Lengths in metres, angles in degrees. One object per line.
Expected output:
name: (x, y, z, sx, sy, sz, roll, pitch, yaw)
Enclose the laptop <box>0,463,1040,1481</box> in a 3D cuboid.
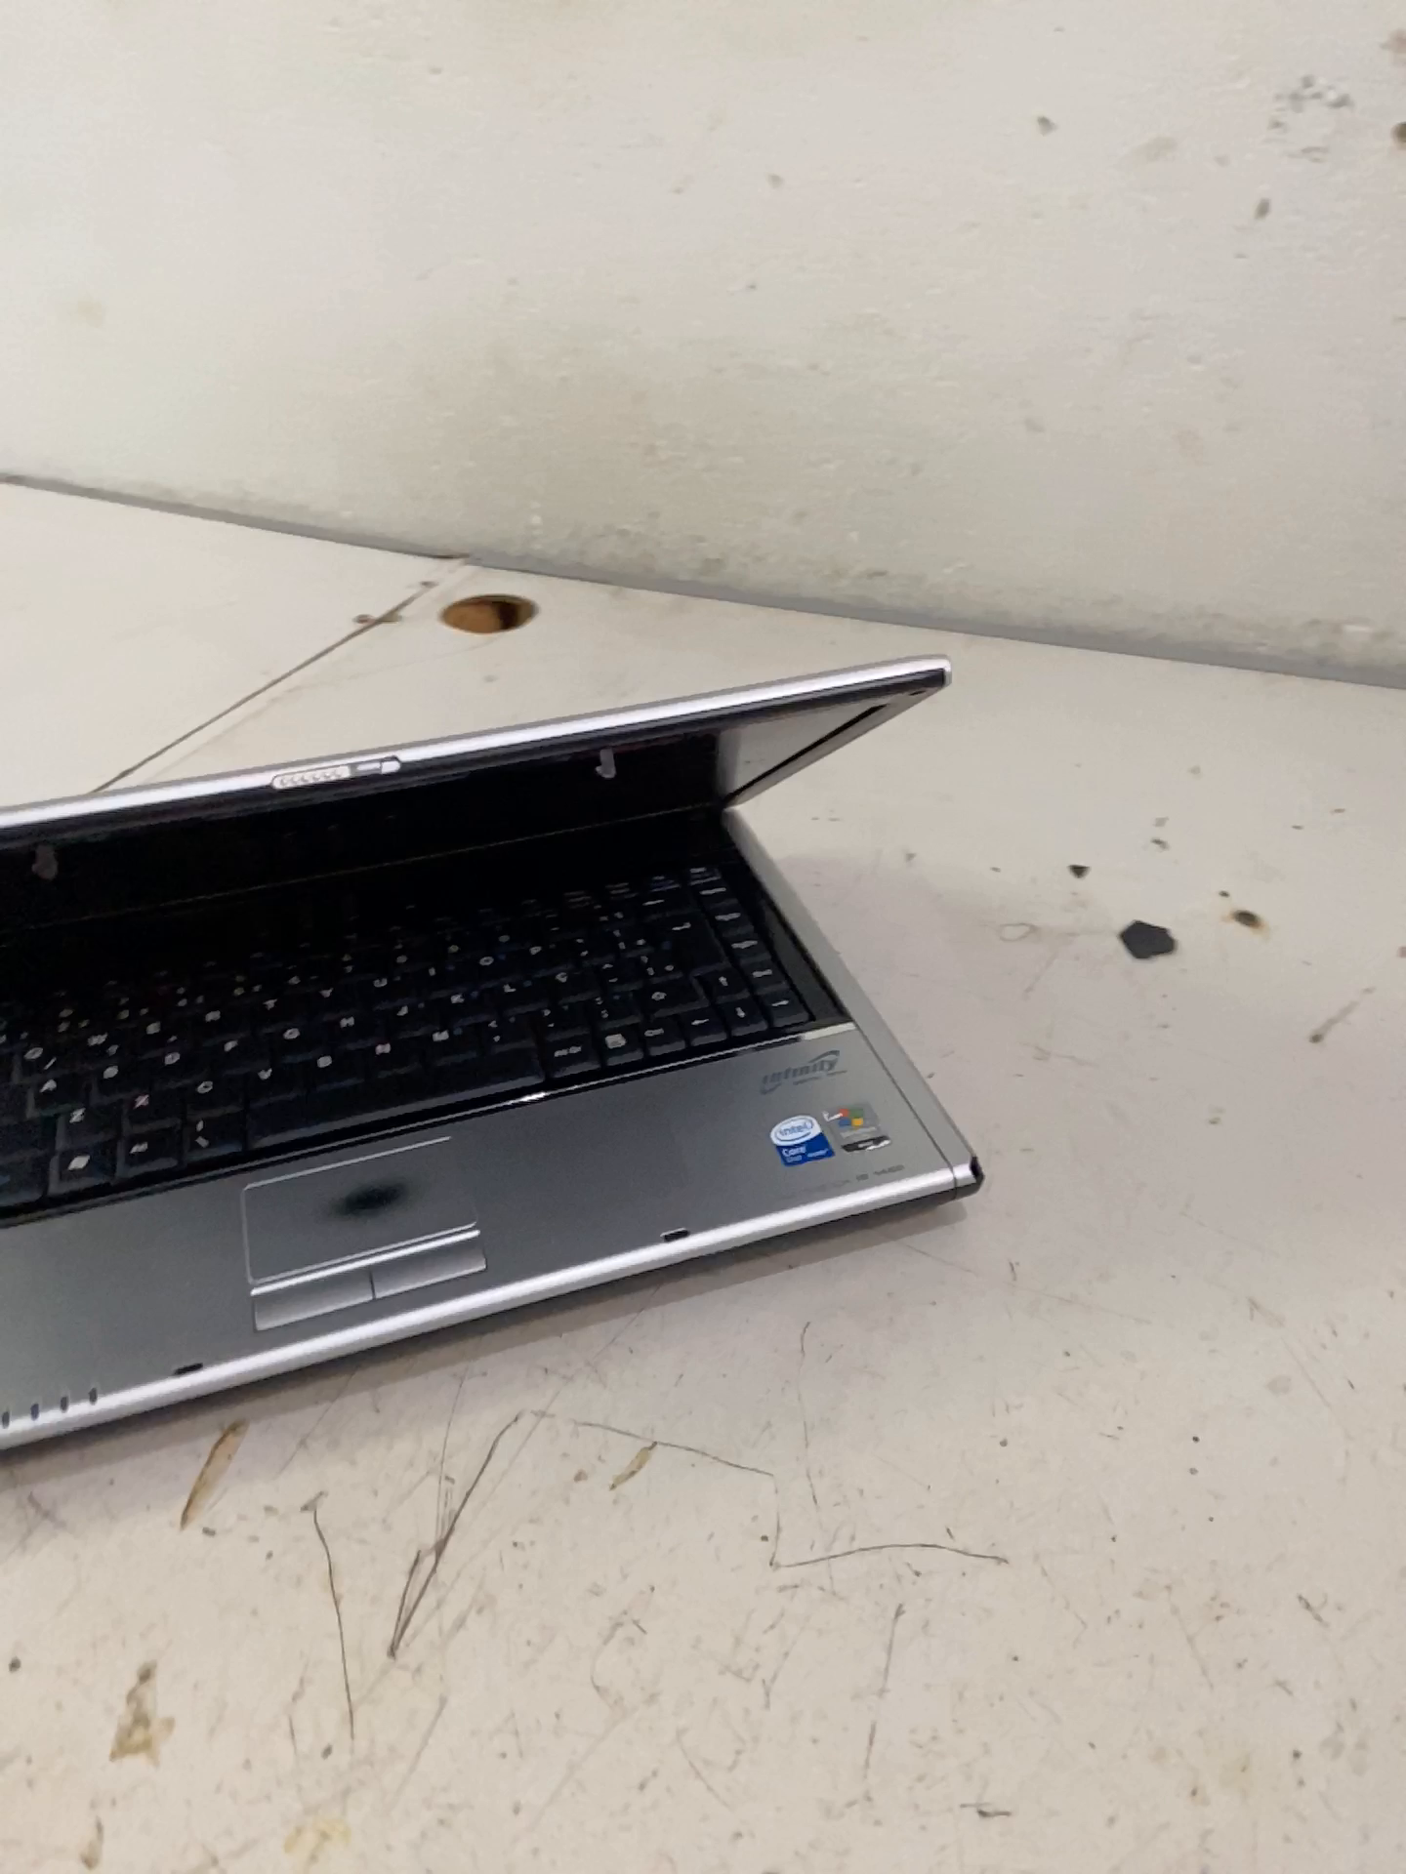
laptop: (-0.106, -0.020, 0.435, 0.319, 0.144, 0.227, -12, 35, -14)
